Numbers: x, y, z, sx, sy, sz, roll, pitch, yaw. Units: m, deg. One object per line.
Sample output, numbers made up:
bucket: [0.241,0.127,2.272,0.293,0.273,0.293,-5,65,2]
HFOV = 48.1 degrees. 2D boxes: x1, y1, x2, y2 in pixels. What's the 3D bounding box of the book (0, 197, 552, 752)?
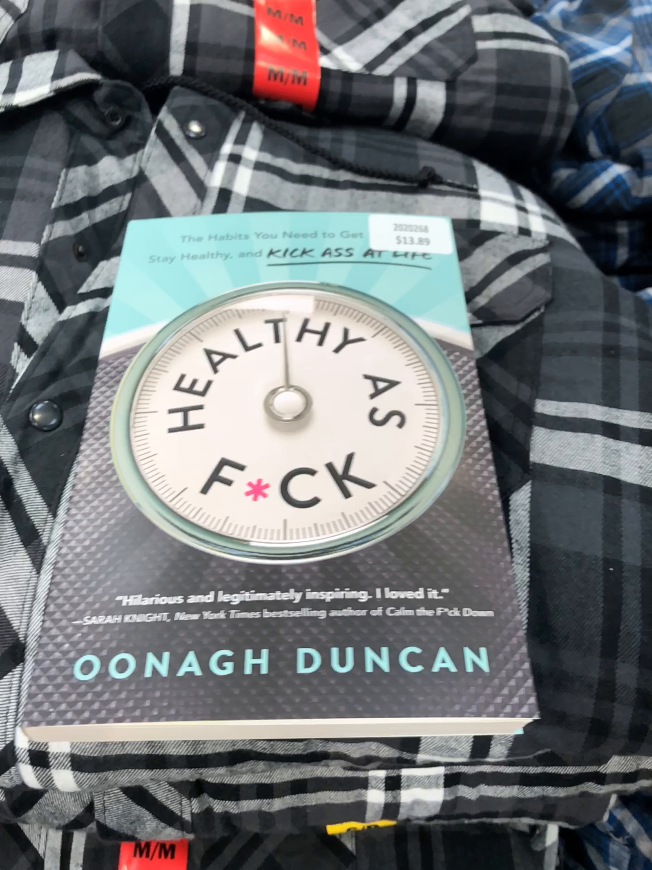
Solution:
book: [-0.017,-0.007,0.286,0.156,0.028,0.238,0,54,-3]
